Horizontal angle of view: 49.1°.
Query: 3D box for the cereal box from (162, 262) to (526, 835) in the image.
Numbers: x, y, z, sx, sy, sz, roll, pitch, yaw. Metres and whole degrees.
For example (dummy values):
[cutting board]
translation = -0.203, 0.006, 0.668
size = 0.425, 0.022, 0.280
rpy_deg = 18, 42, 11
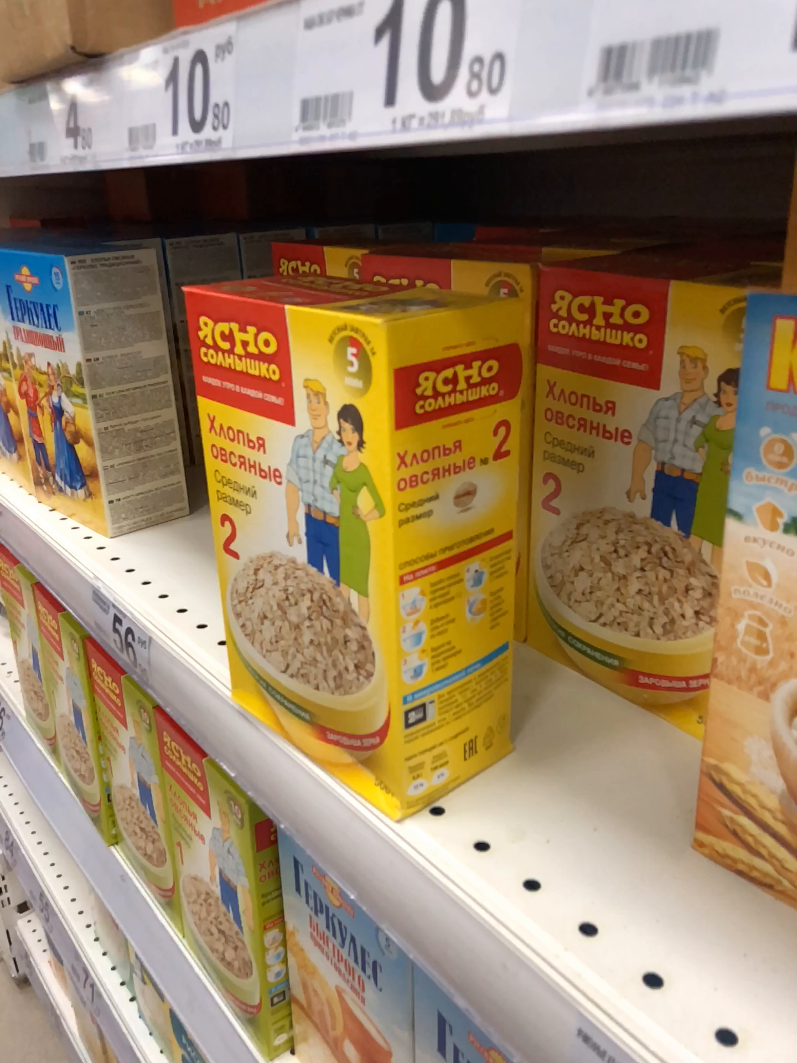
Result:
[cereal box]
translation = -0.022, -0.004, 0.351
size = 0.070, 0.189, 0.130
rpy_deg = -18, 26, -35
